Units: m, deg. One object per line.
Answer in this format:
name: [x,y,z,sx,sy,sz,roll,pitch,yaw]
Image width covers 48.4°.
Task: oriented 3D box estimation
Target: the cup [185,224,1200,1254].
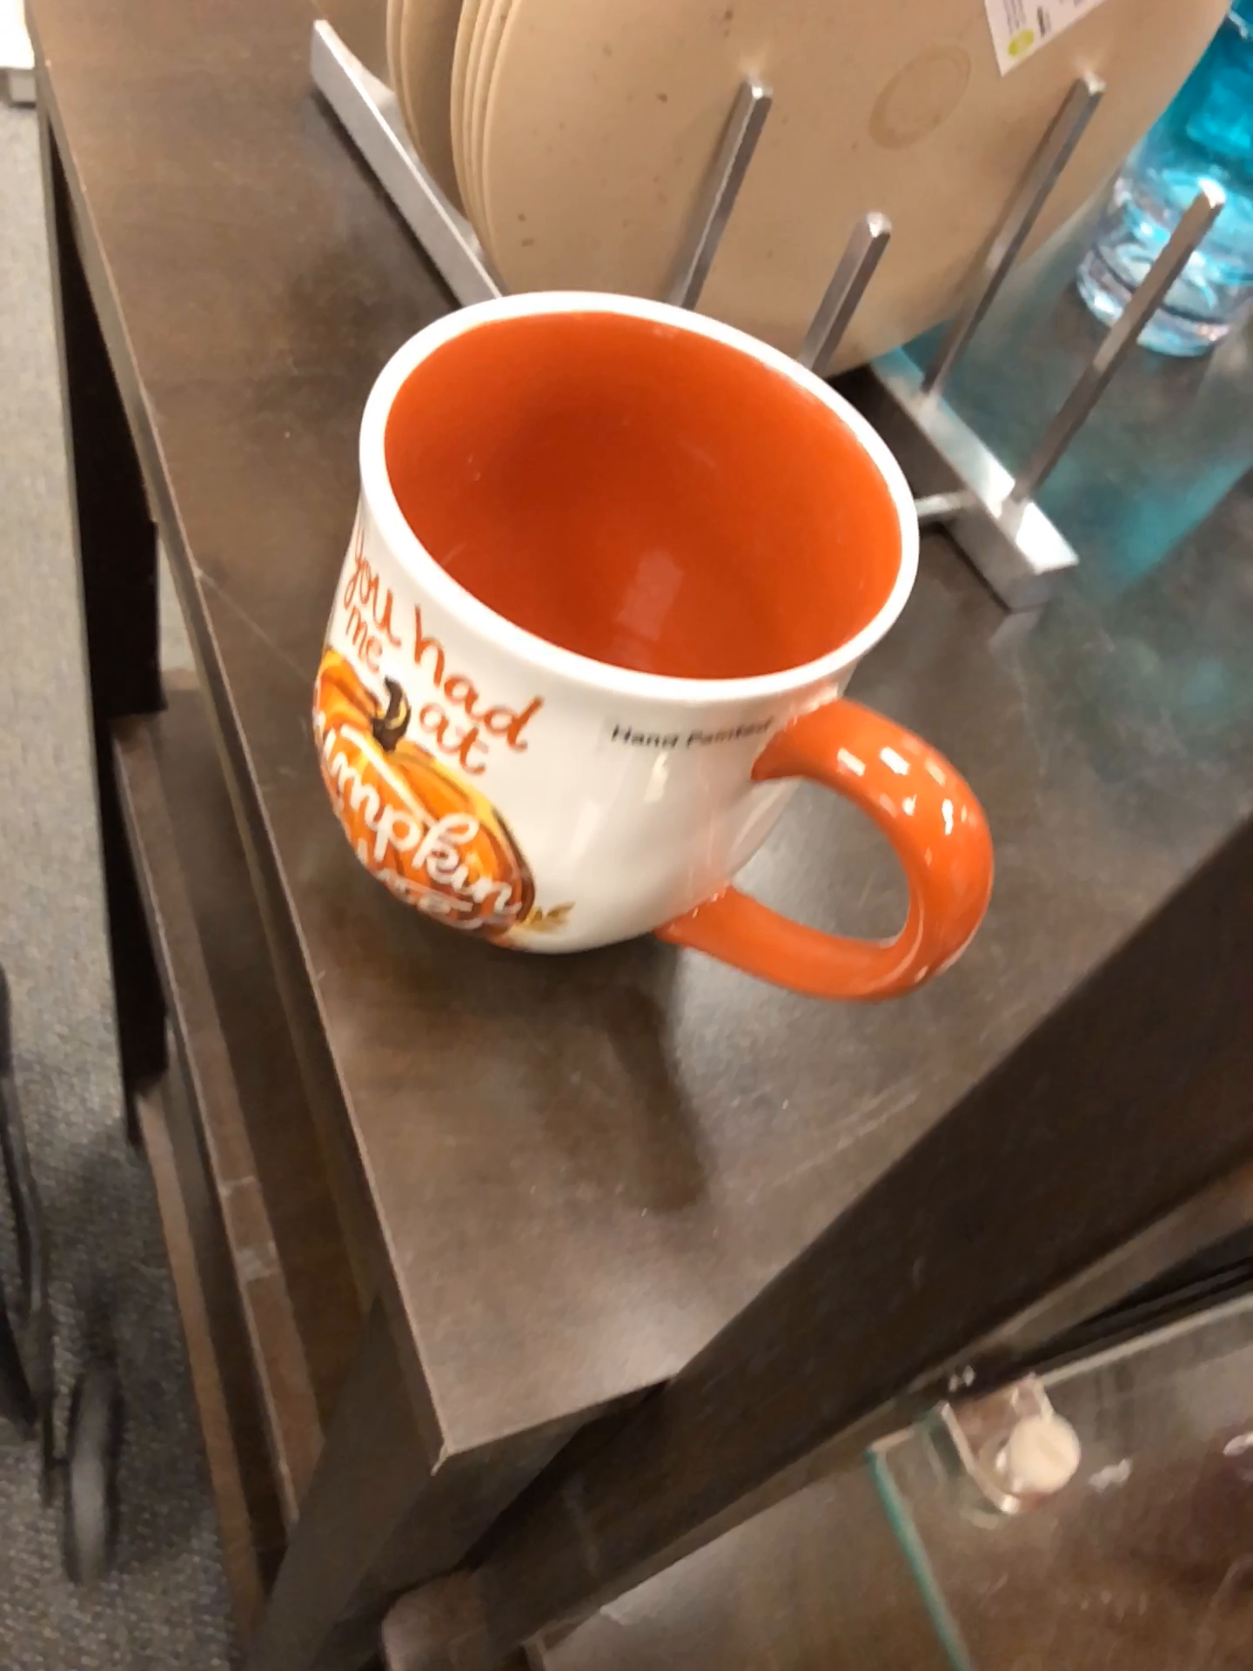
cup: [0.002,-0.023,0.266,0.102,0.094,0.143,-33,70,-34]
